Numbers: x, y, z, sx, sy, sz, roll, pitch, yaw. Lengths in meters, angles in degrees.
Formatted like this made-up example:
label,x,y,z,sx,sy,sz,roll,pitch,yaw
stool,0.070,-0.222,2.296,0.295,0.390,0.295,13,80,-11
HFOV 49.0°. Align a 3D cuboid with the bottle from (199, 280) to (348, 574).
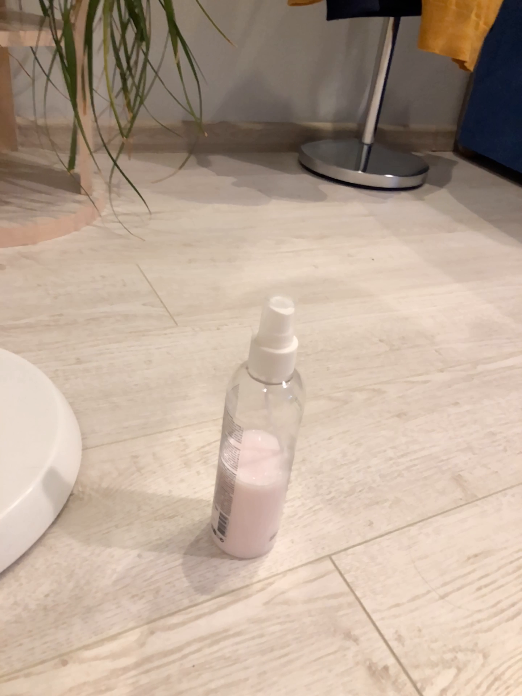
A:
label,x,y,z,sx,sy,sz,roll,pitch,yaw
bottle,0.001,0.054,0.356,0.054,0.183,0.049,-9,36,-25
